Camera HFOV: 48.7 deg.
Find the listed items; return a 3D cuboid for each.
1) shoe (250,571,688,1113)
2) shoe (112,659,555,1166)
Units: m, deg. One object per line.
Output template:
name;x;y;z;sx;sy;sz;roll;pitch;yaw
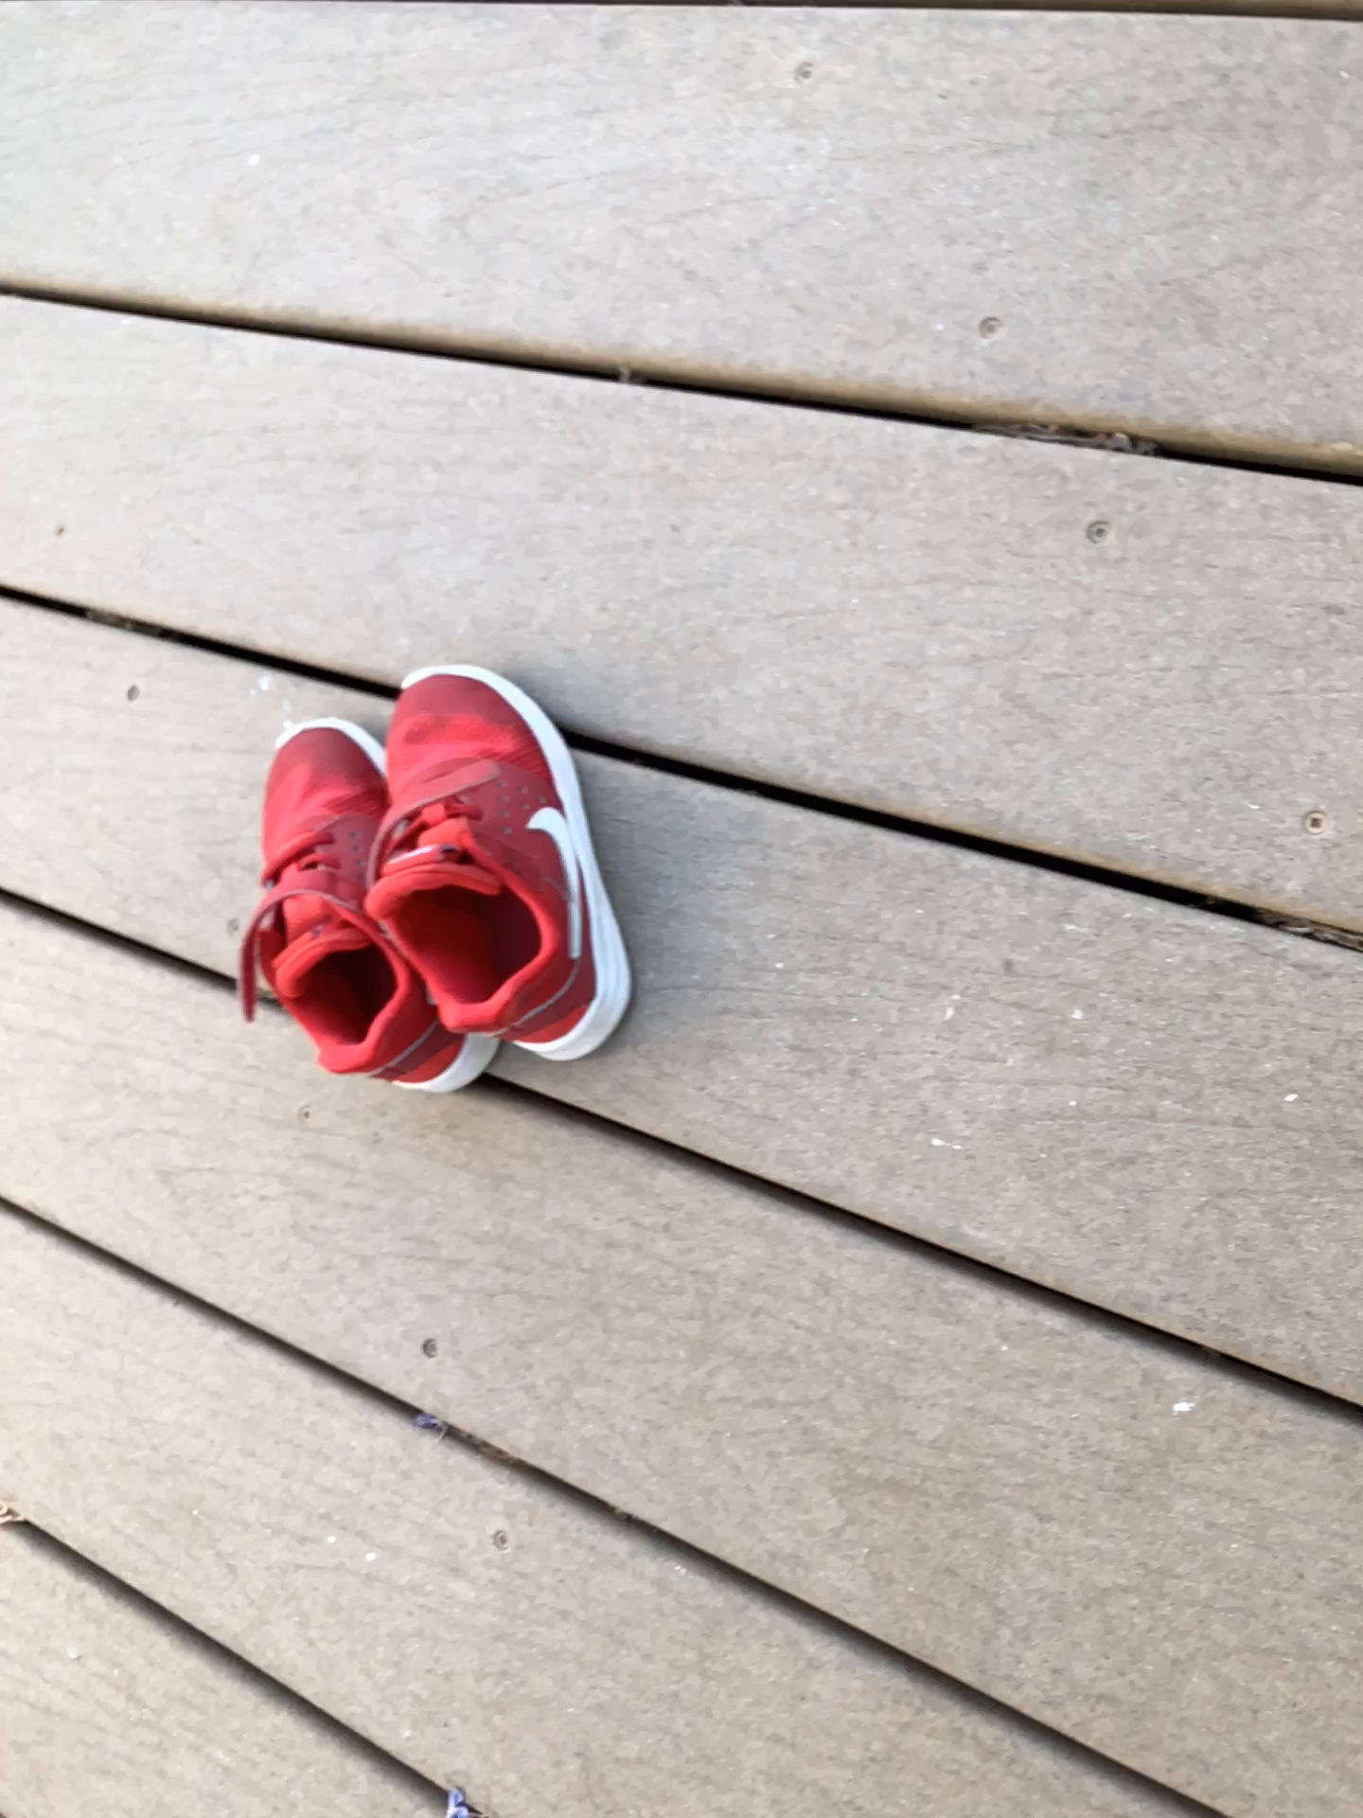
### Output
shoe;-0.076;-0.022;0.550;0.077;0.087;0.167;-24;78;22
shoe;-0.134;0.002;0.585;0.077;0.087;0.167;-30;76;21
